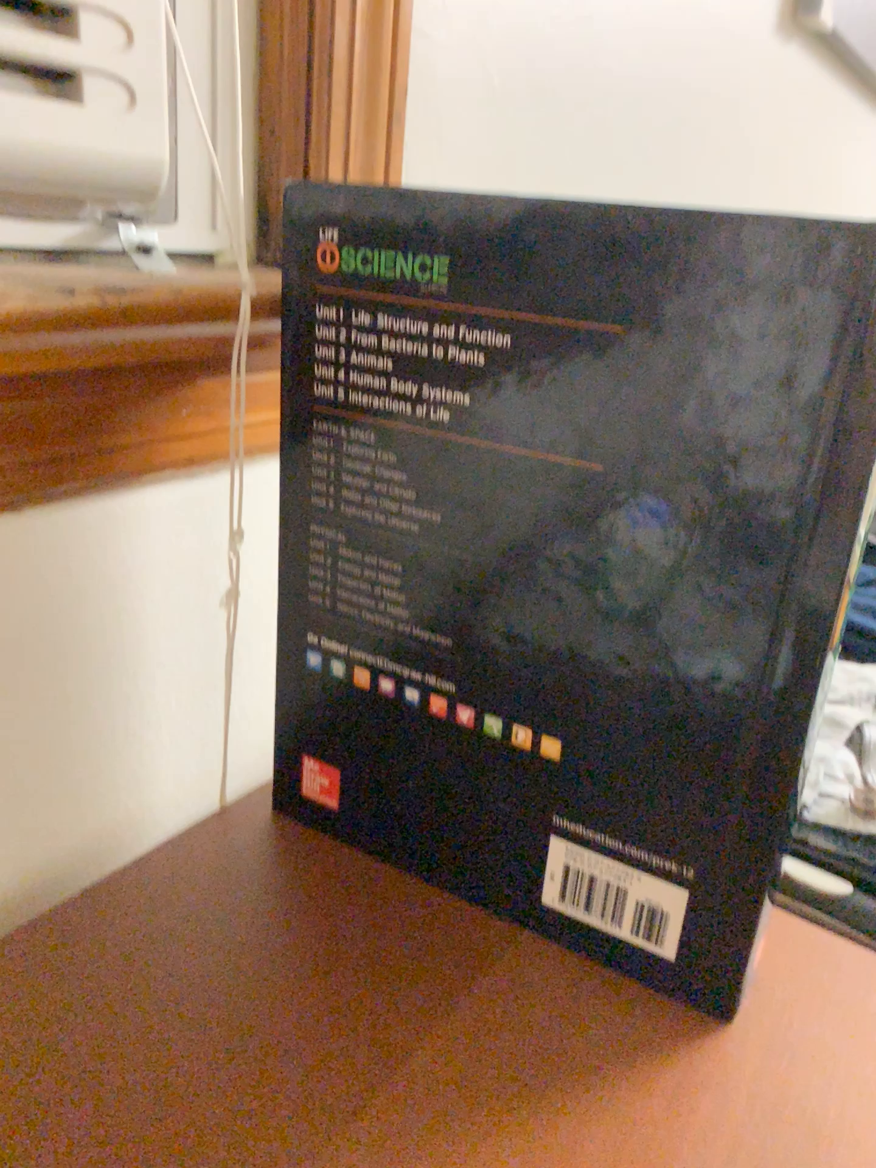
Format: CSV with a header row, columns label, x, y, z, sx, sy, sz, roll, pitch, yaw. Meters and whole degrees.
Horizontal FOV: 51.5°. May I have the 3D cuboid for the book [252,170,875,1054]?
label,x,y,z,sx,sy,sz,roll,pitch,yaw
book,0.031,0.002,0.354,0.226,0.286,0.051,16,23,28
